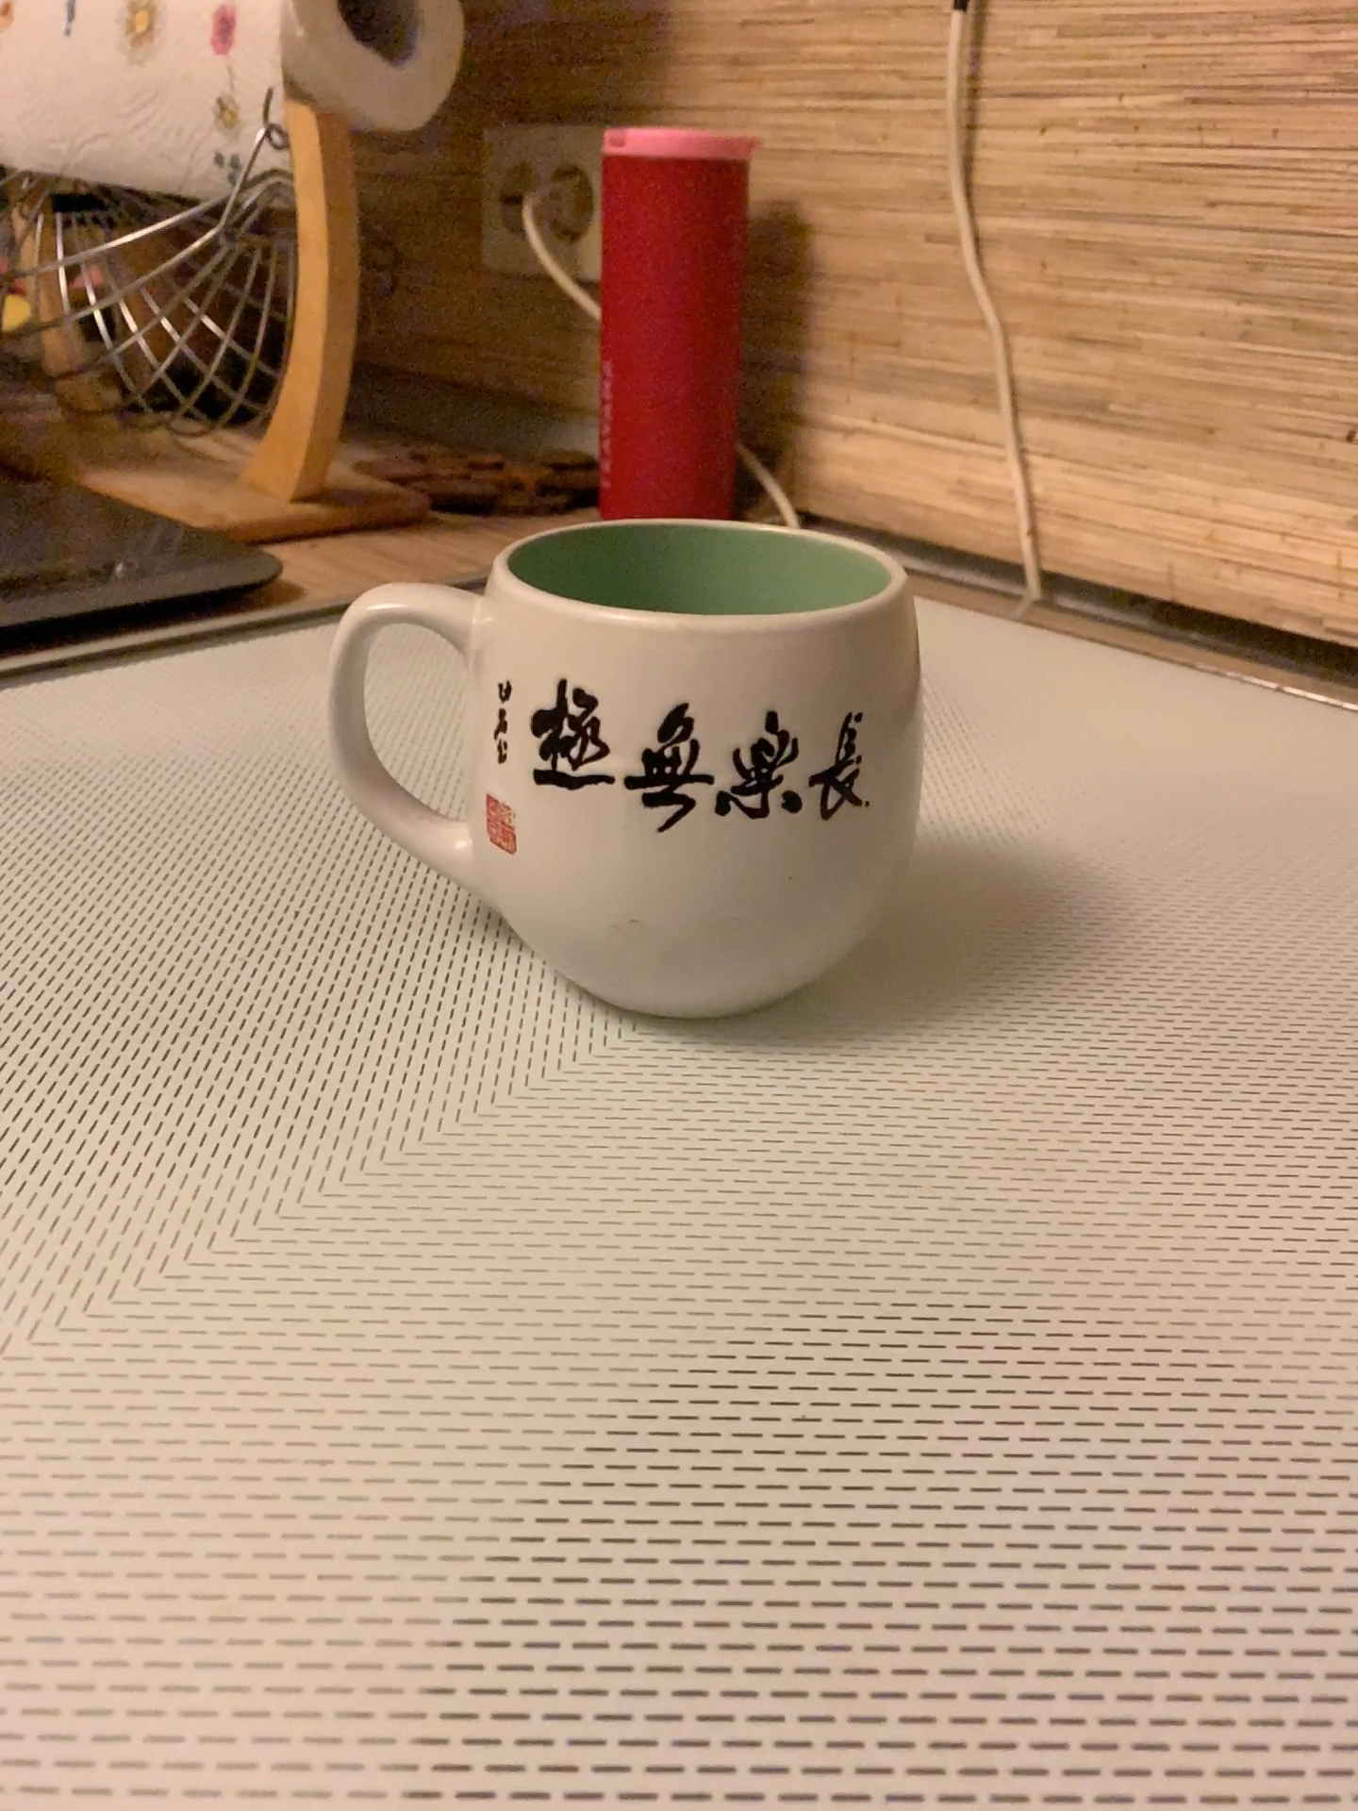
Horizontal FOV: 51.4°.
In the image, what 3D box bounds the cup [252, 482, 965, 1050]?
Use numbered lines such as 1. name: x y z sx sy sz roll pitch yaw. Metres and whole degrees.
1. cup: -0.016 -0.033 0.304 0.124 0.091 0.088 2 27 -4
